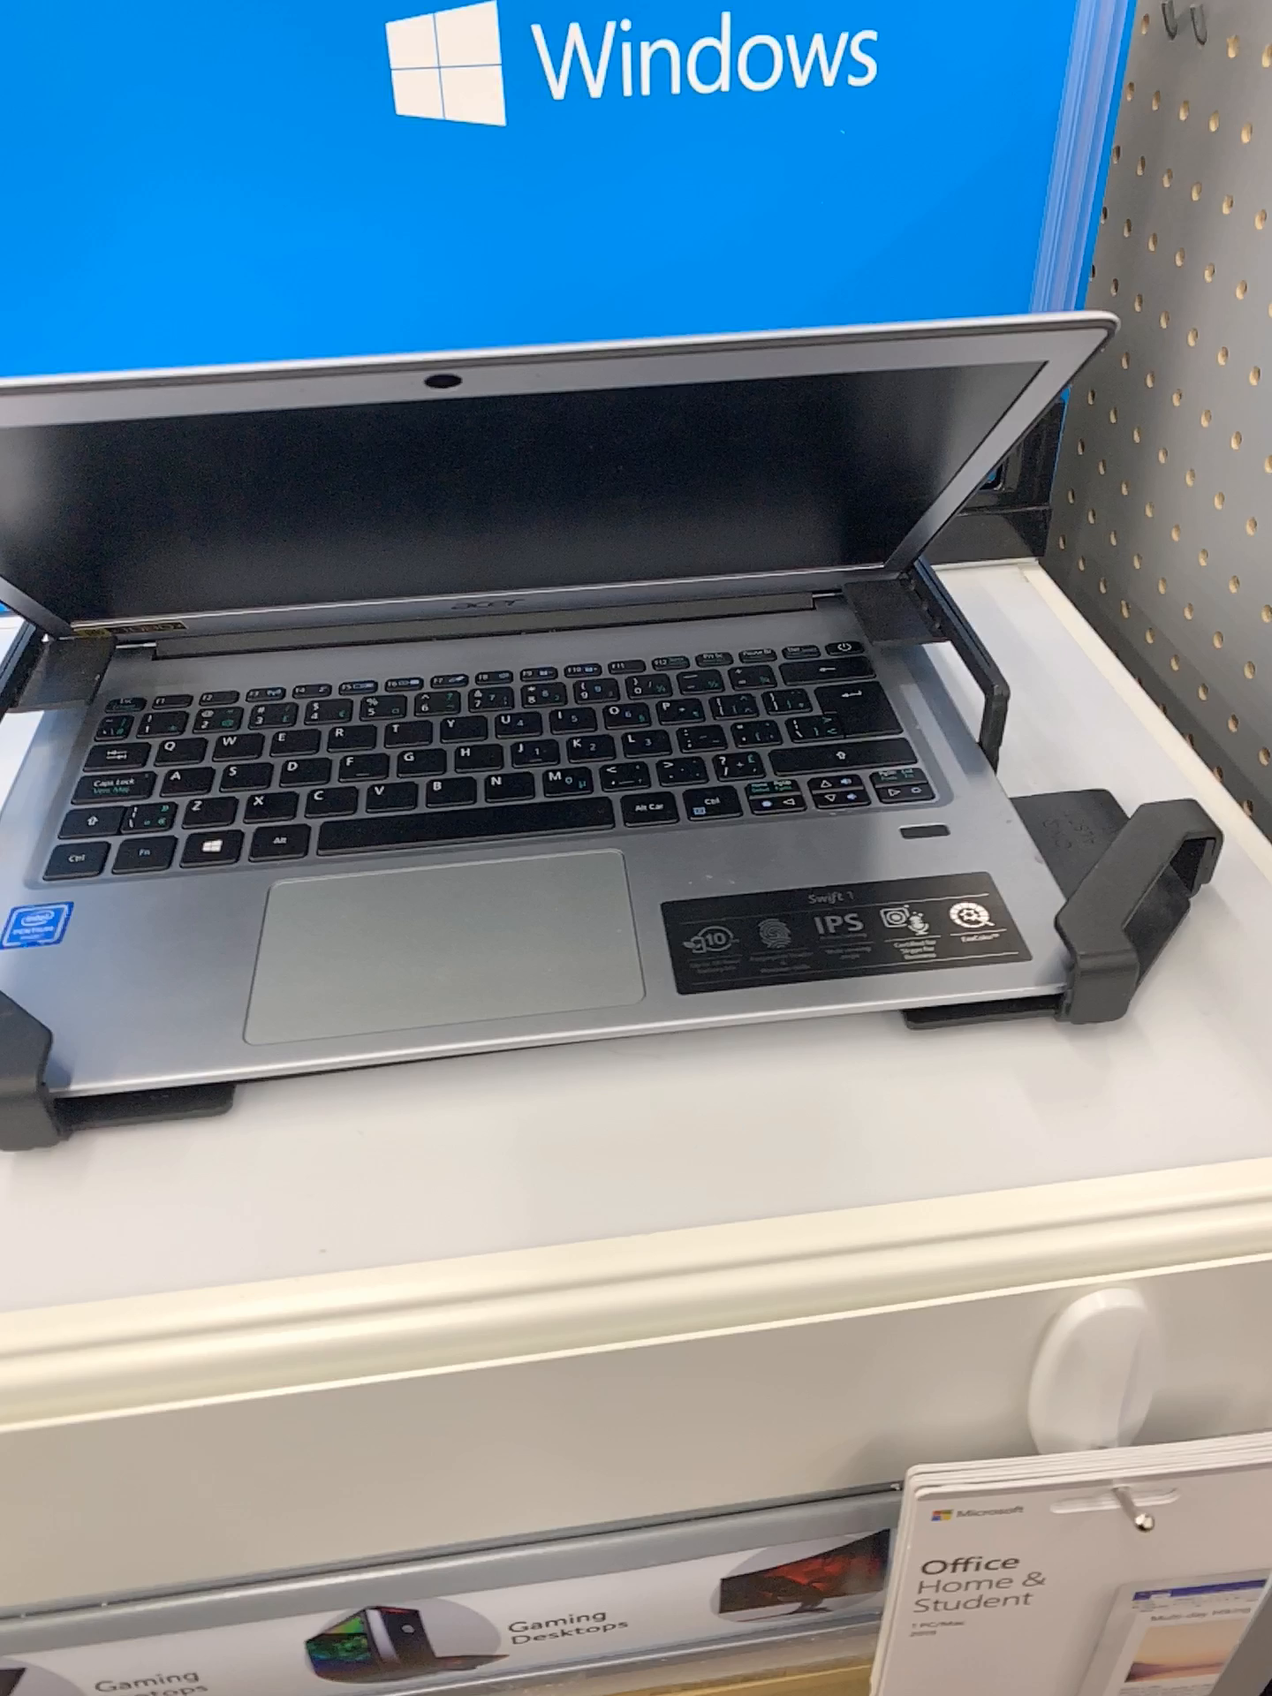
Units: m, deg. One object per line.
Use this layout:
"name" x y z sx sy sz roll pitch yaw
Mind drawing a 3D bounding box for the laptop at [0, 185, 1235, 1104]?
"laptop" -0.046 -0.070 0.361 0.307 0.140 0.198 -5 40 -4
